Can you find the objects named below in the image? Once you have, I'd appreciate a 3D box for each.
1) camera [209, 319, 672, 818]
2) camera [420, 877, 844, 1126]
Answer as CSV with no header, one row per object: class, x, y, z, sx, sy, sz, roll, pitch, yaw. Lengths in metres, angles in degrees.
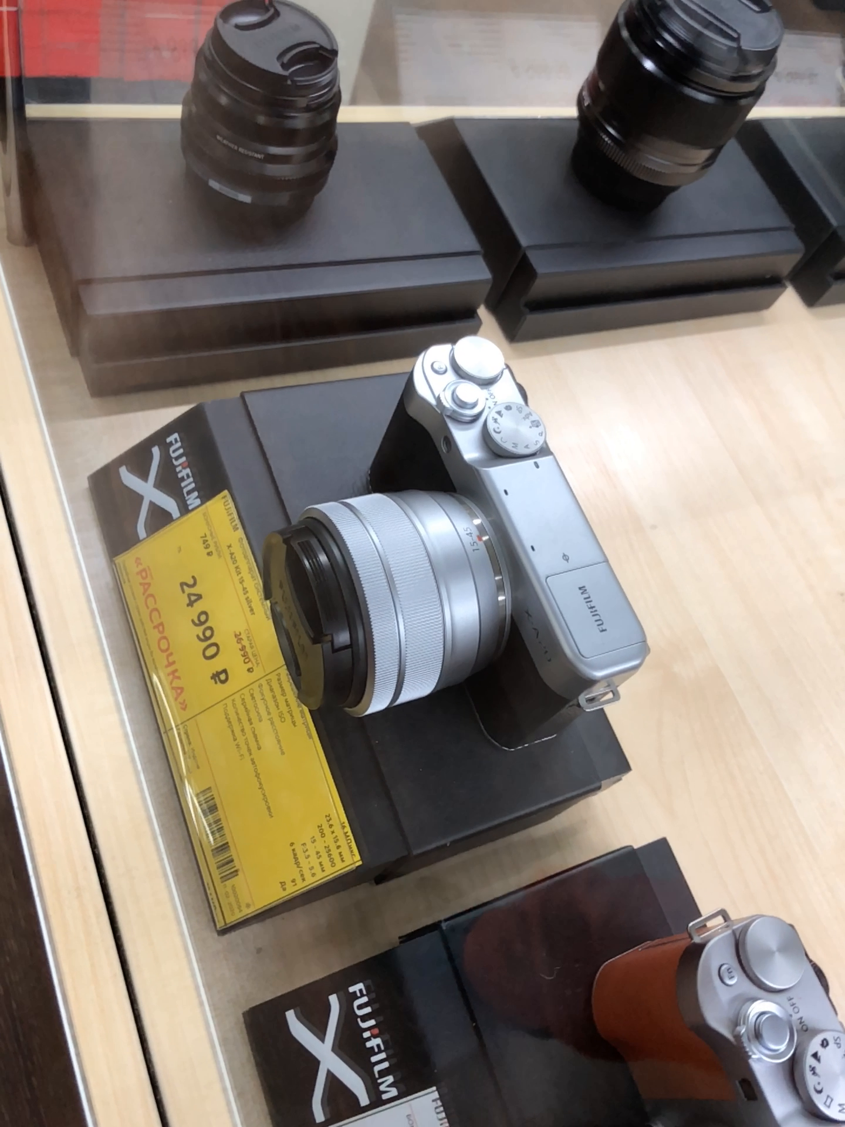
camera,-0.003,-0.001,0.290,0.088,0.073,0.120,-11,66,-25
camera,0.072,0.160,0.227,0.088,0.073,0.128,-11,66,-25
